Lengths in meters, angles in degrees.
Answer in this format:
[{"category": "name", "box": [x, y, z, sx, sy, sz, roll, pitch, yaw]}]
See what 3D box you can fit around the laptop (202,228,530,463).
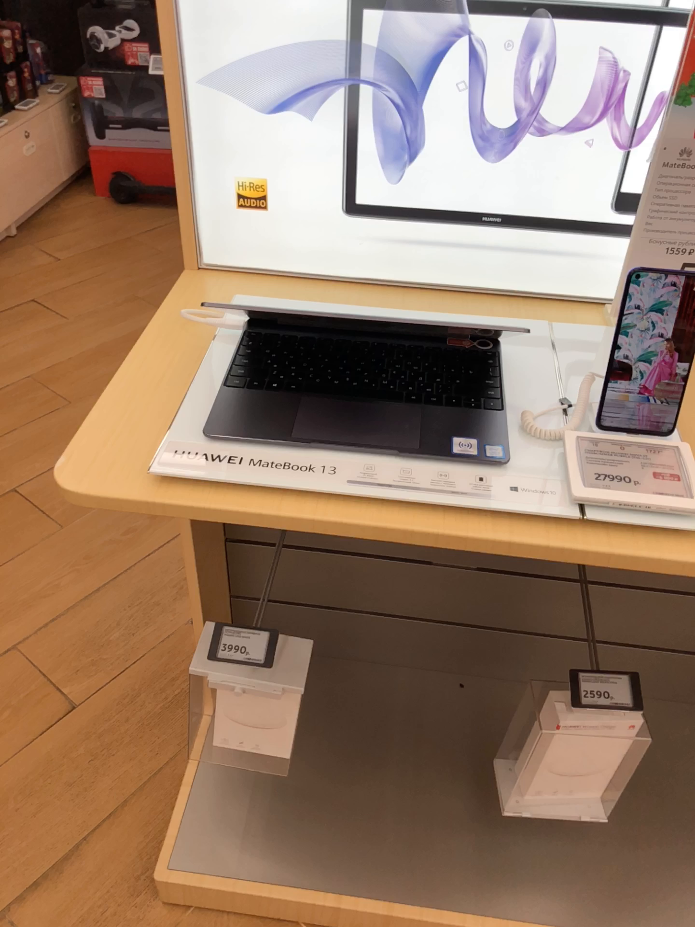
[{"category": "laptop", "box": [0.025, -0.122, 0.734, 0.271, 0.106, 0.205, 7, 40, 3]}]
